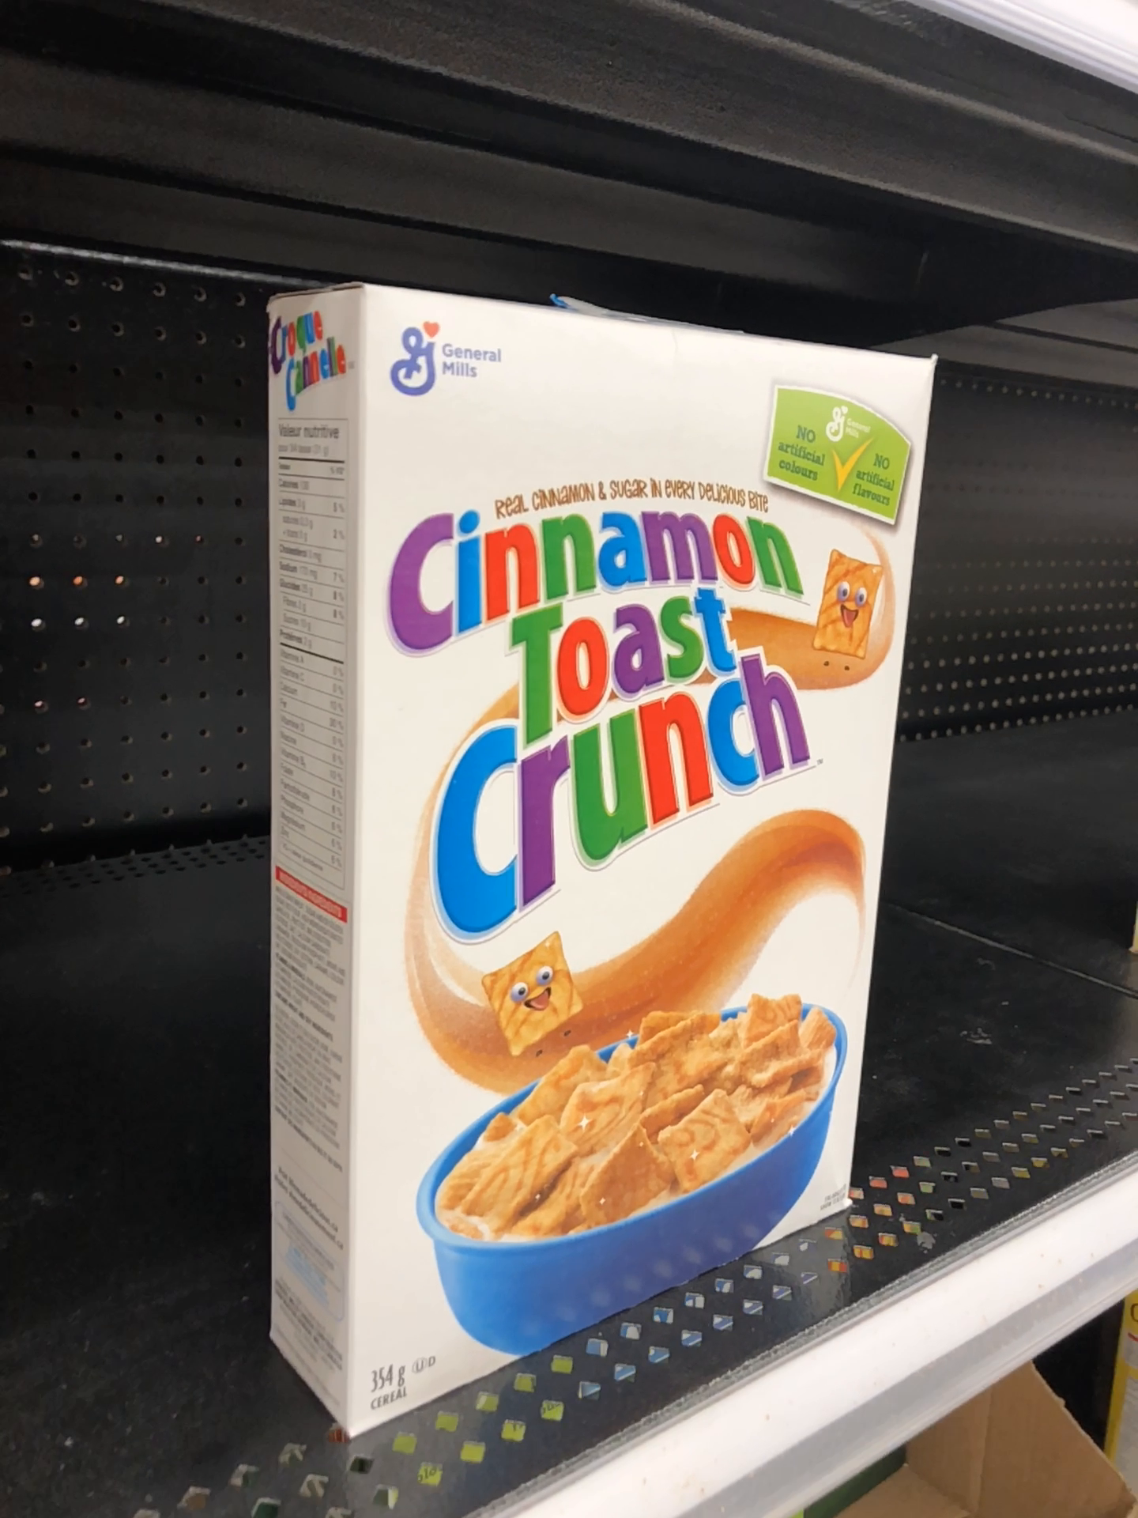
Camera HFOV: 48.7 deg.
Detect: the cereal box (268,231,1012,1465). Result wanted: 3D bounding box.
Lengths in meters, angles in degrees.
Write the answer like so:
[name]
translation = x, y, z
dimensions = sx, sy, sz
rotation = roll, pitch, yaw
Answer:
[cereal box]
translation = 0.025, 0.018, 0.355
dimensions = 0.210, 0.279, 0.050
rotation = -7, 15, -37
